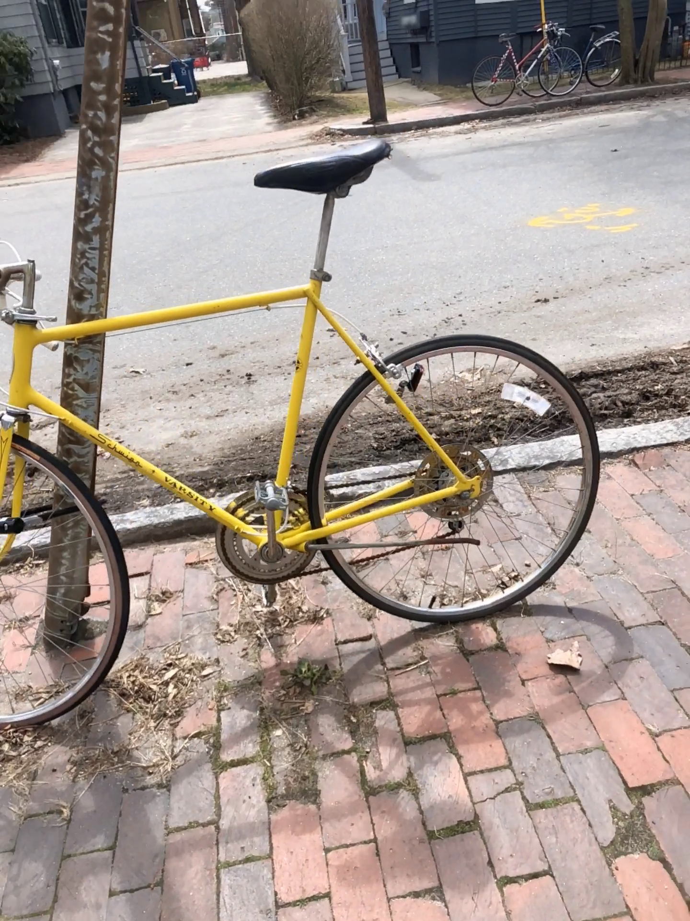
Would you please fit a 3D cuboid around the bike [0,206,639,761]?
[{"bbox_3d":[-0.286,0.038,1.795,1.685,0.804,0.542,-12,29,-1],"label":"bike"}]
